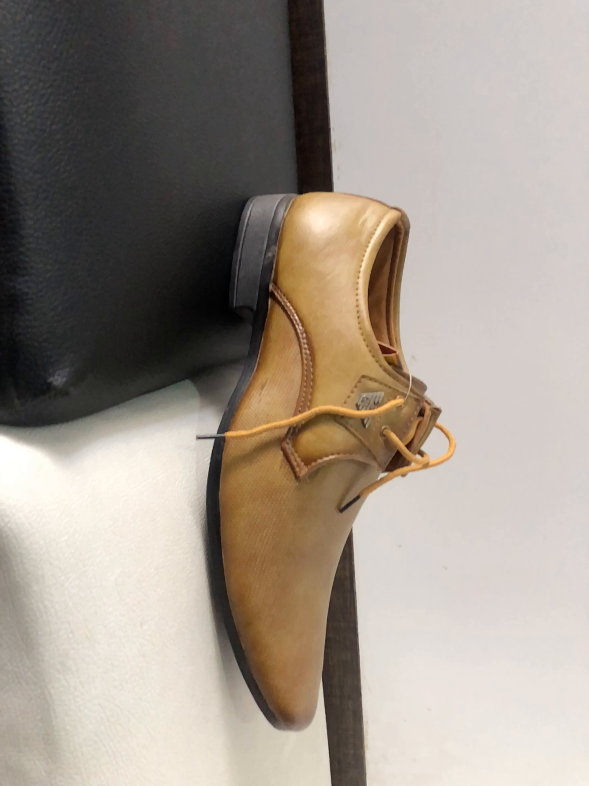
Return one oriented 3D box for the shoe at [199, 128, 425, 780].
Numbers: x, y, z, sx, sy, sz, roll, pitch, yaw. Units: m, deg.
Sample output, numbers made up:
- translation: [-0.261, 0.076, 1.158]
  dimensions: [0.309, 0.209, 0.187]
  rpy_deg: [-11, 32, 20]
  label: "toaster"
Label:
- translation: [0.019, 0.025, 0.352]
  dimensions: [0.101, 0.089, 0.290]
  rpy_deg: [24, 66, -71]
  label: "shoe"
